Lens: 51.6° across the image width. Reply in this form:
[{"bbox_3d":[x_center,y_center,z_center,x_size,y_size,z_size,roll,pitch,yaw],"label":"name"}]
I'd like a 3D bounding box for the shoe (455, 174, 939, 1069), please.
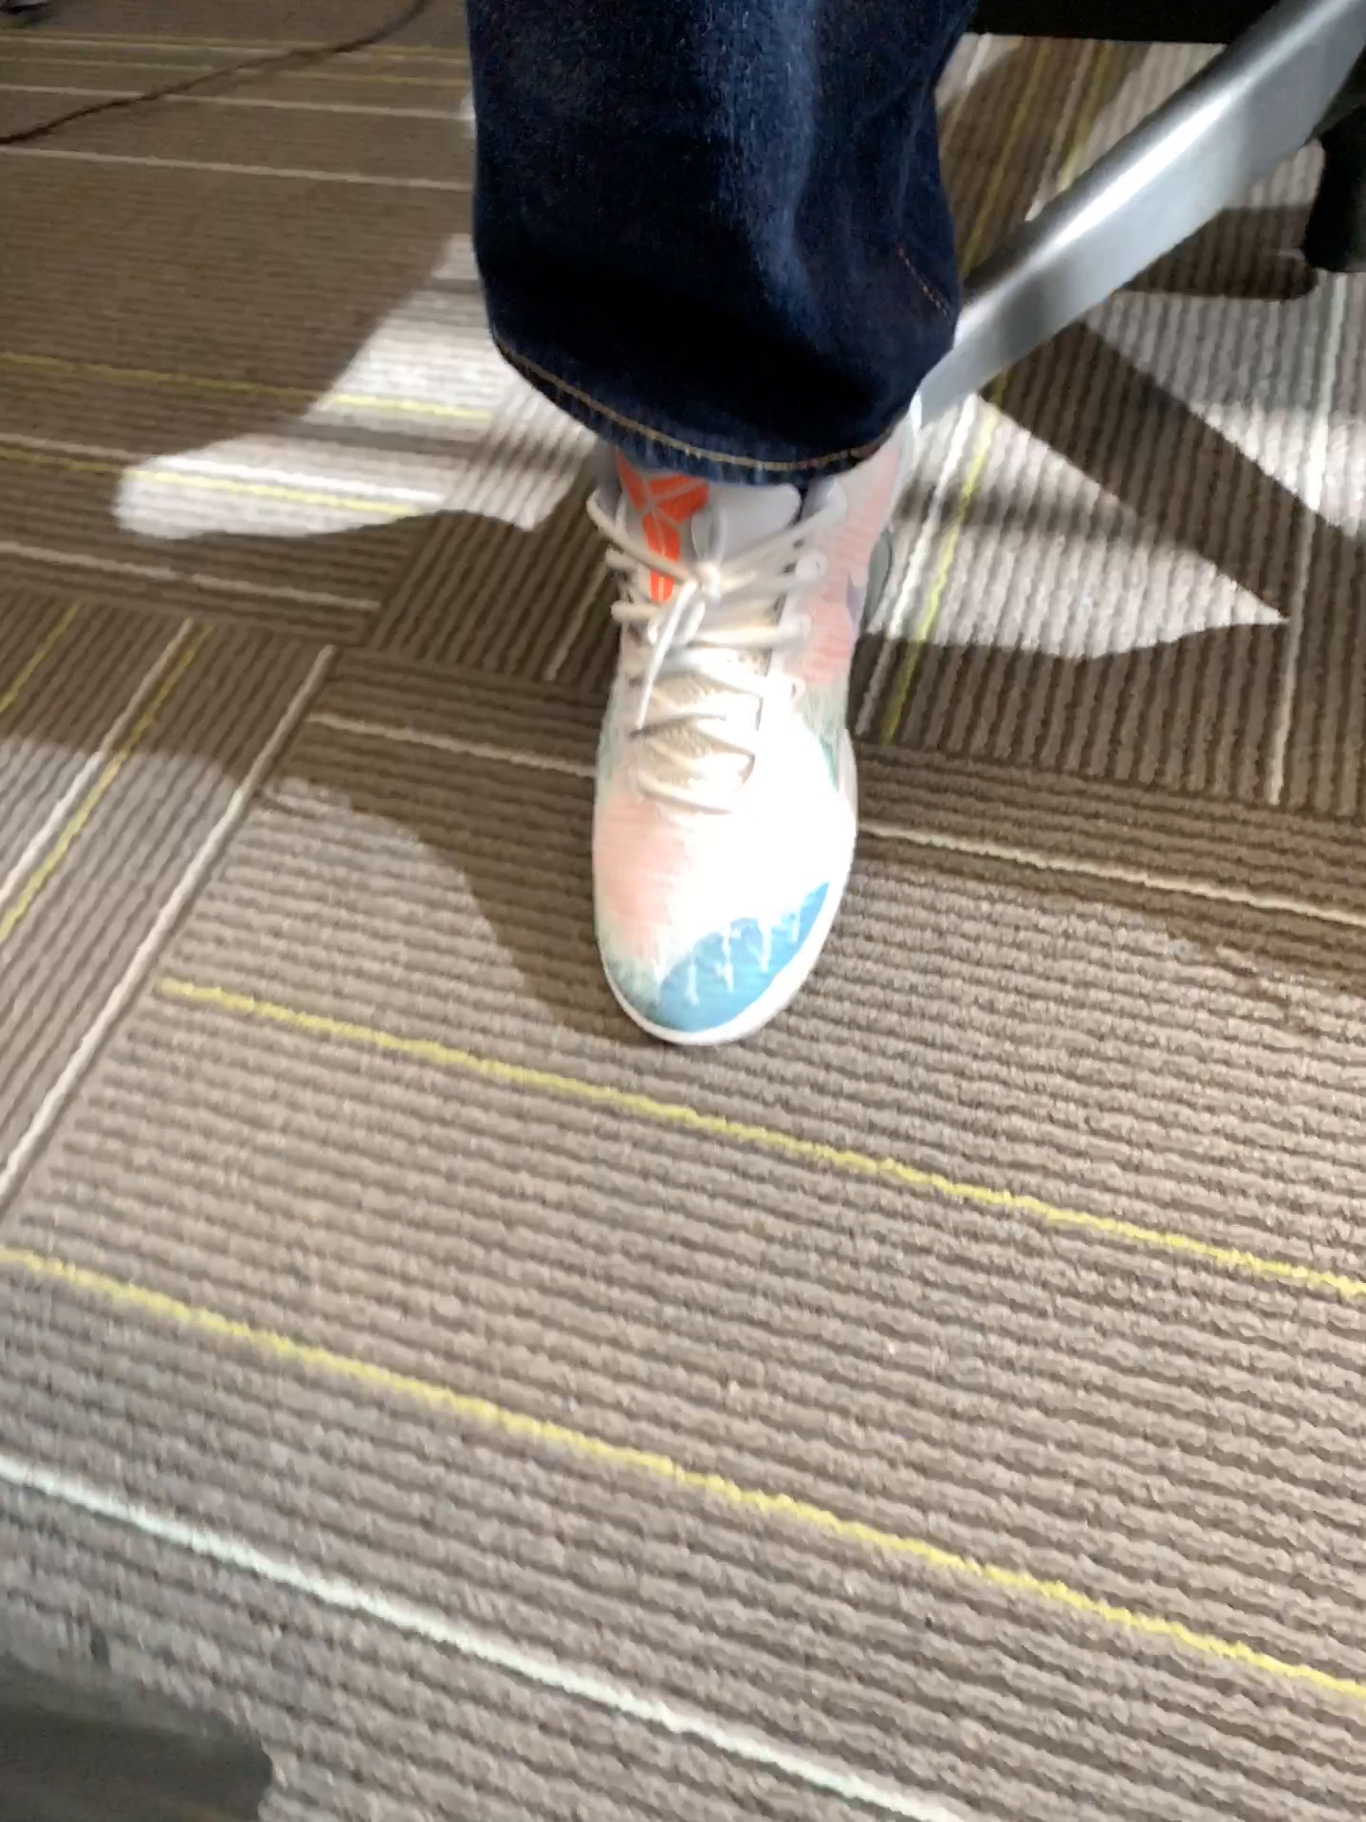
[{"bbox_3d":[0.021,-0.111,0.504,0.106,0.109,0.303,6,65,12],"label":"shoe"}]
